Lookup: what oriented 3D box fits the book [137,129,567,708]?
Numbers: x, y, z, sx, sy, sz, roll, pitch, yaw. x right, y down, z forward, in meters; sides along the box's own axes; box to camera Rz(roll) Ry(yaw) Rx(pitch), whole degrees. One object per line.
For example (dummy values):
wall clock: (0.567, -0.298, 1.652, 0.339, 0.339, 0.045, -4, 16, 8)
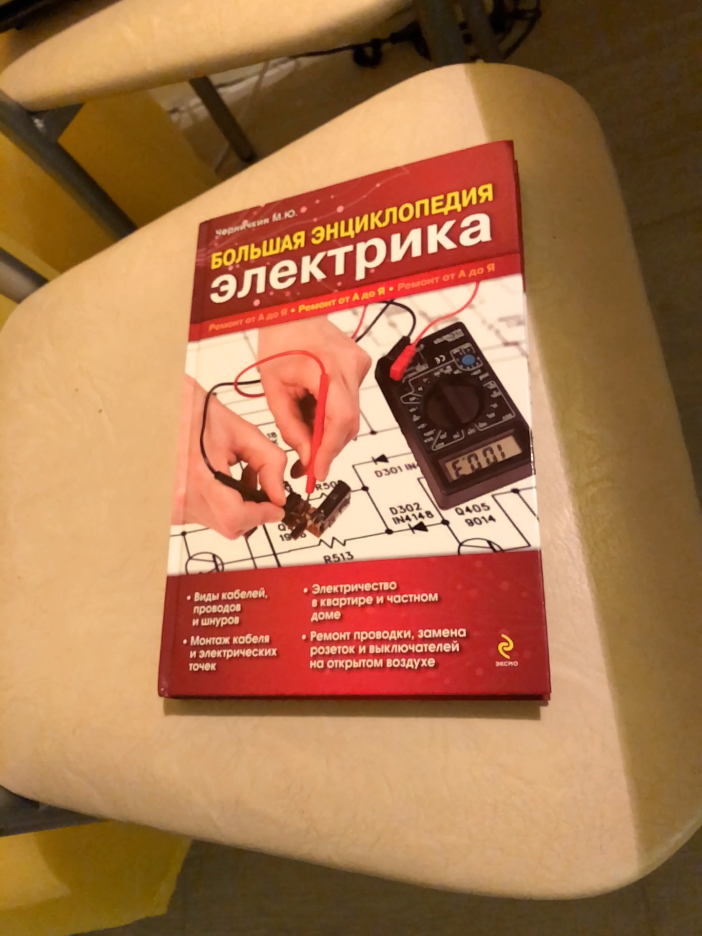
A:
book: (-0.003, -0.021, 0.346, 0.172, 0.030, 0.241, -7, 69, 22)
